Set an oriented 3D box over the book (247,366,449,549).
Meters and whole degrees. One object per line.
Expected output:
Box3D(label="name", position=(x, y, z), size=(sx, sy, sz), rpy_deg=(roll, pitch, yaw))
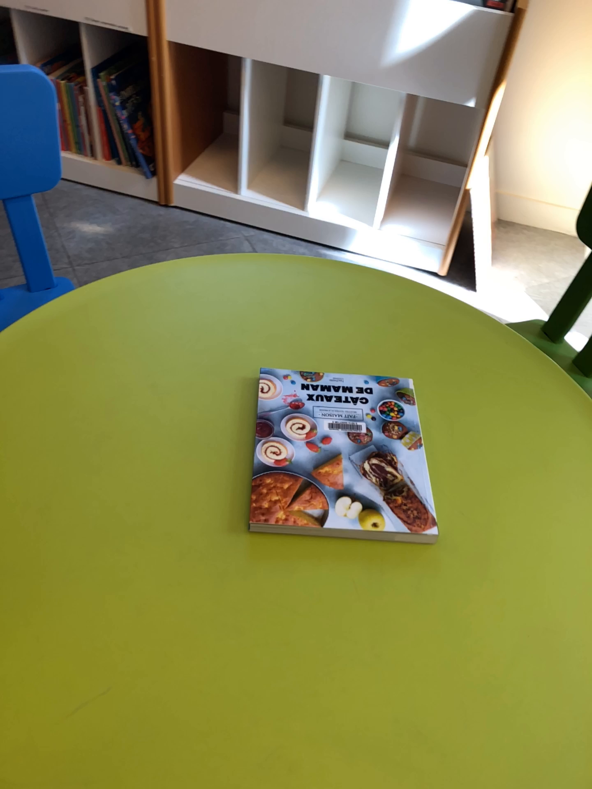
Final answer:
Box3D(label="book", position=(0.054, 0.061, 0.725), size=(0.200, 0.021, 0.229), rpy_deg=(4, 45, -3))
